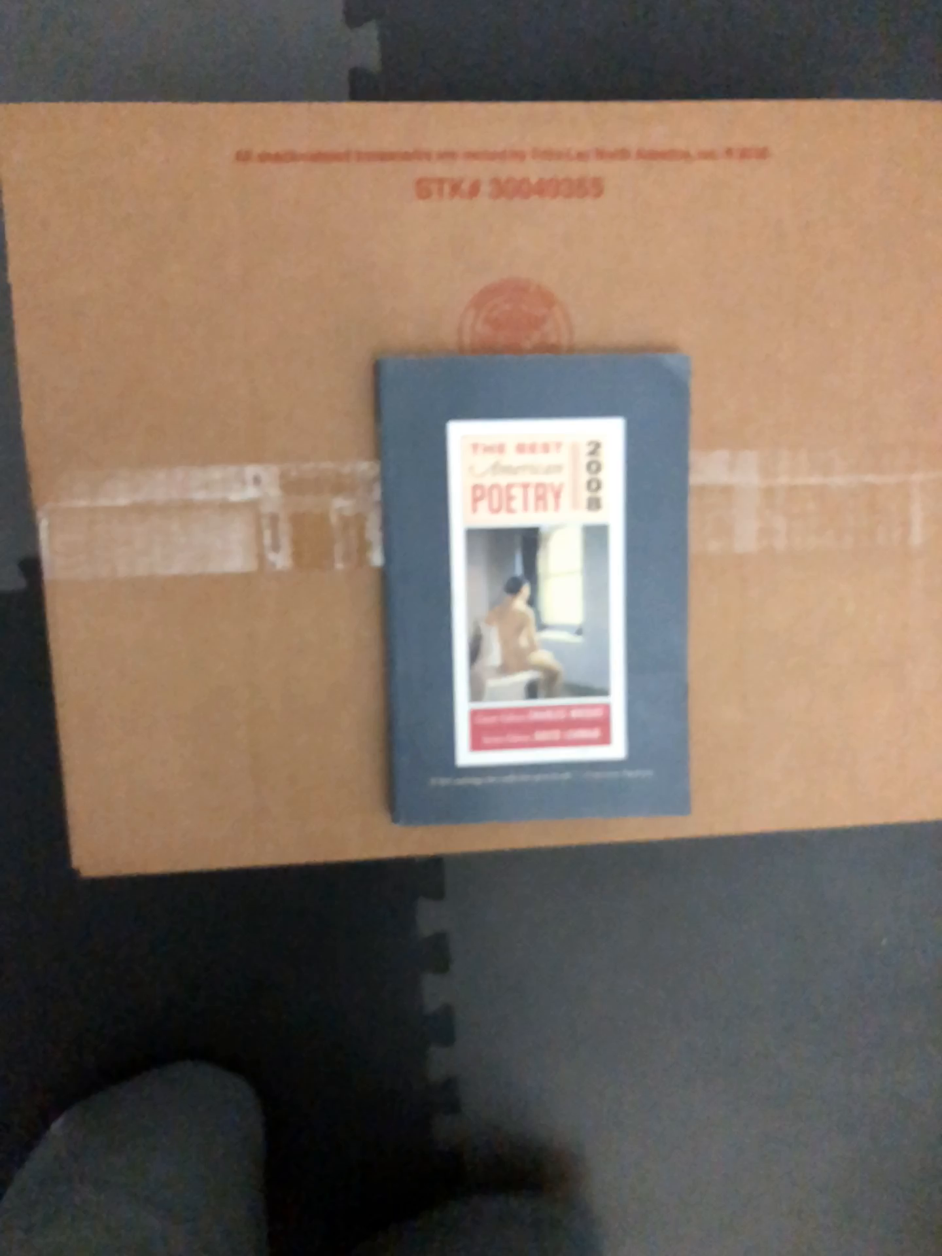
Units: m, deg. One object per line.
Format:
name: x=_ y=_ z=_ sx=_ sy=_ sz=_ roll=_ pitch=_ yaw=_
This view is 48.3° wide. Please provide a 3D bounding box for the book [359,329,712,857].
book: x=0.032 y=-0.015 z=0.482 sx=0.150 sy=0.020 sz=0.230 roll=-3 pitch=97 yaw=-4
